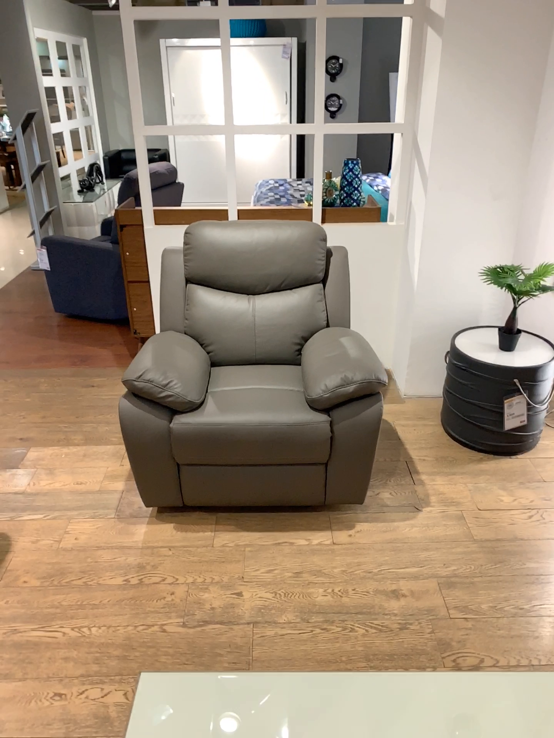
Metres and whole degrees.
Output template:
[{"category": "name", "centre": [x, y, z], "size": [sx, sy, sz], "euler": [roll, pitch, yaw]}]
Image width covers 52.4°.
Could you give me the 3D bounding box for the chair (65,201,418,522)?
[{"category": "chair", "centre": [-0.098, -0.090, 2.223], "size": [1.000, 0.936, 0.944], "euler": [-1, 26, 0]}]
